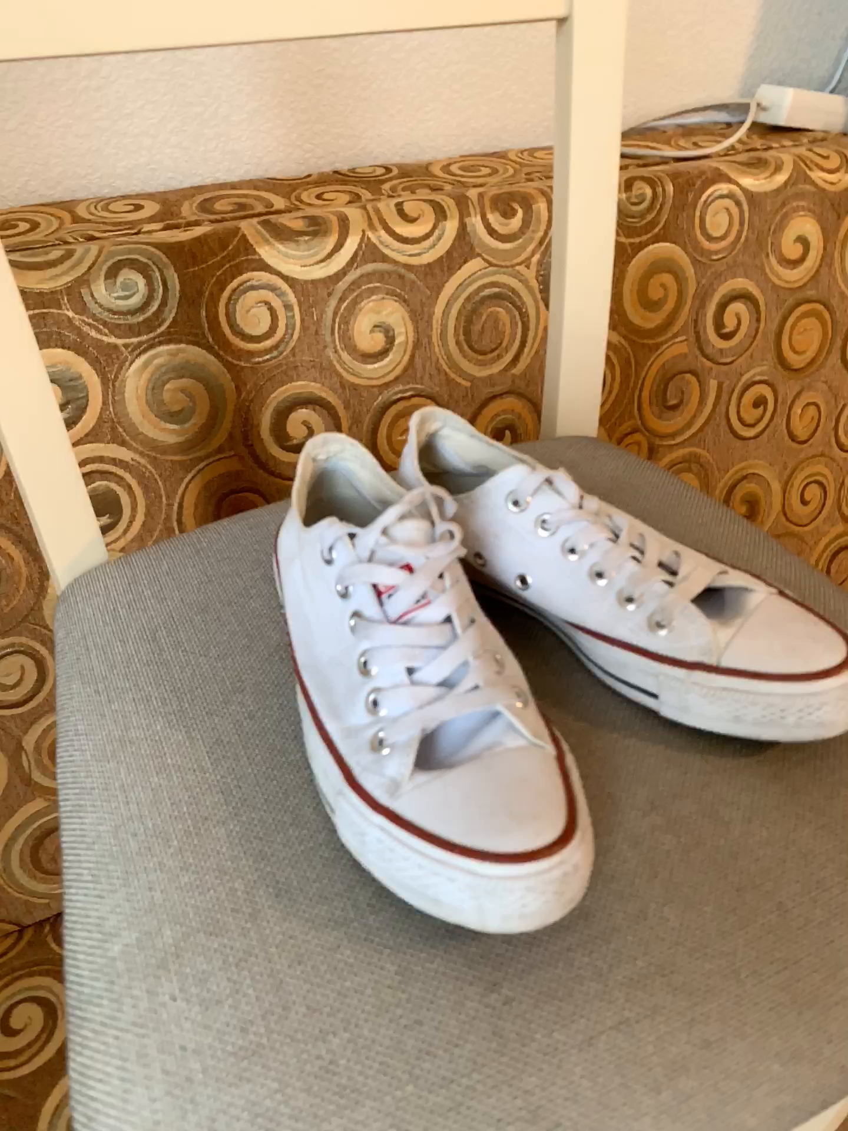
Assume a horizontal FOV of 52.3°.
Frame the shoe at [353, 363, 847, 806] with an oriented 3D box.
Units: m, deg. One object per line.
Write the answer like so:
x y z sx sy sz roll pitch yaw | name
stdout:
0.082 -0.005 0.374 0.220 0.060 0.090 30 50 25 | shoe

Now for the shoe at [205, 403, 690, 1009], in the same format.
-0.009 0.030 0.328 0.090 0.060 0.221 -15 47 -18 | shoe
